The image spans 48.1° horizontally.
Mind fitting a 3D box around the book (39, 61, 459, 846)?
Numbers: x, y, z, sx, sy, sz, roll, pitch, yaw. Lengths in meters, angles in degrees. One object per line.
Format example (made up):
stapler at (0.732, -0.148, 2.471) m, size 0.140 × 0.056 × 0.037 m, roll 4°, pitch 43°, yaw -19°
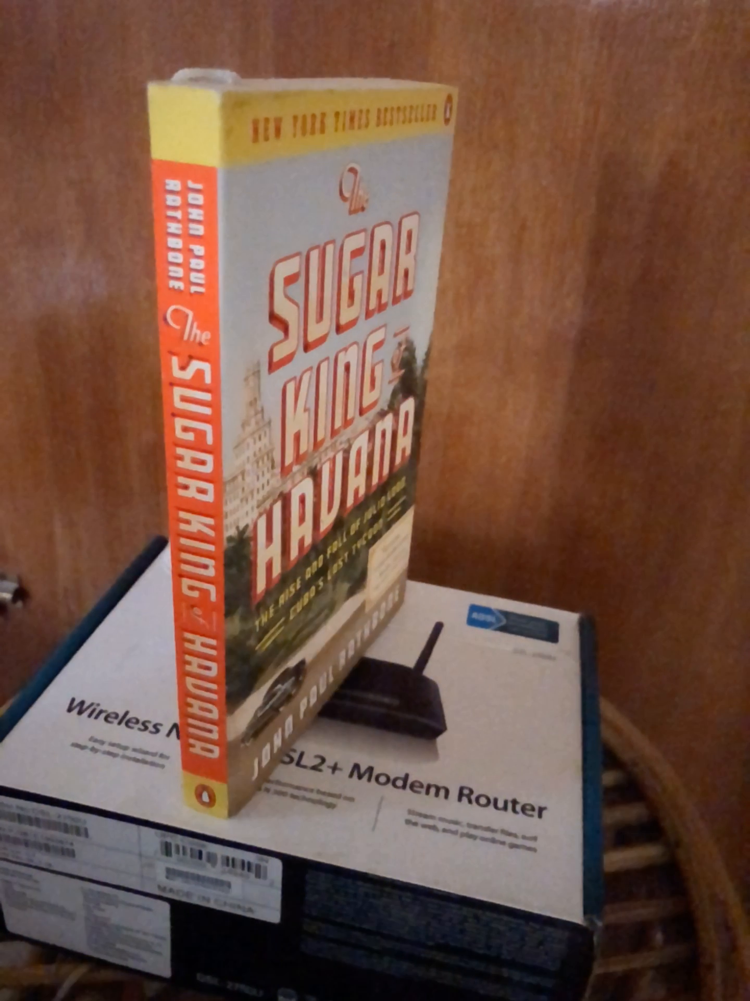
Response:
book at (-0.023, -0.022, 0.271) m, size 0.030 × 0.209 × 0.151 m, roll 15°, pitch 32°, yaw 22°
